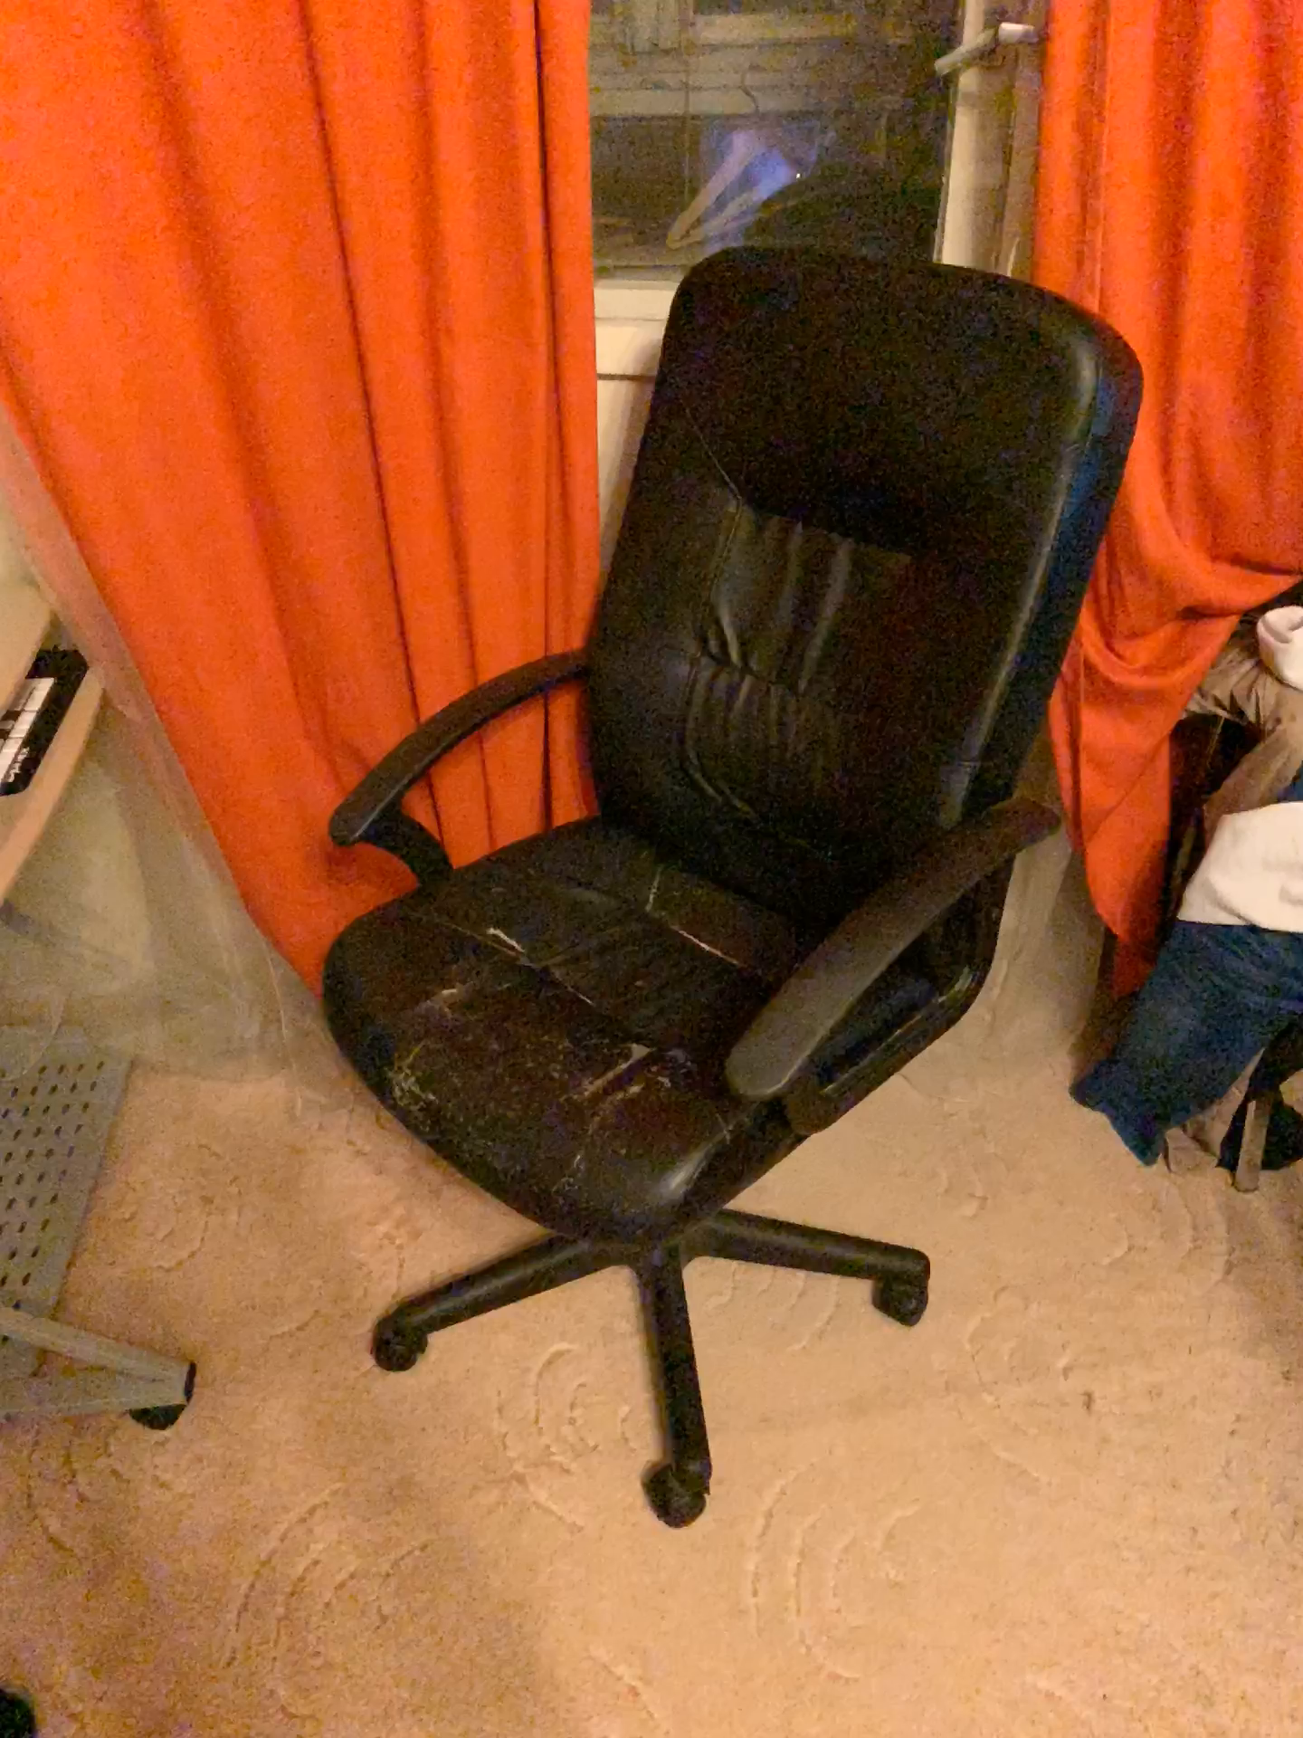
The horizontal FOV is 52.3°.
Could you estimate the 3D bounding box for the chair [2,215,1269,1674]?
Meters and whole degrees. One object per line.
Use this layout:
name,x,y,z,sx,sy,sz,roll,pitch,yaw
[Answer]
chair,0.002,0.018,1.388,0.712,1.124,0.742,28,44,36
